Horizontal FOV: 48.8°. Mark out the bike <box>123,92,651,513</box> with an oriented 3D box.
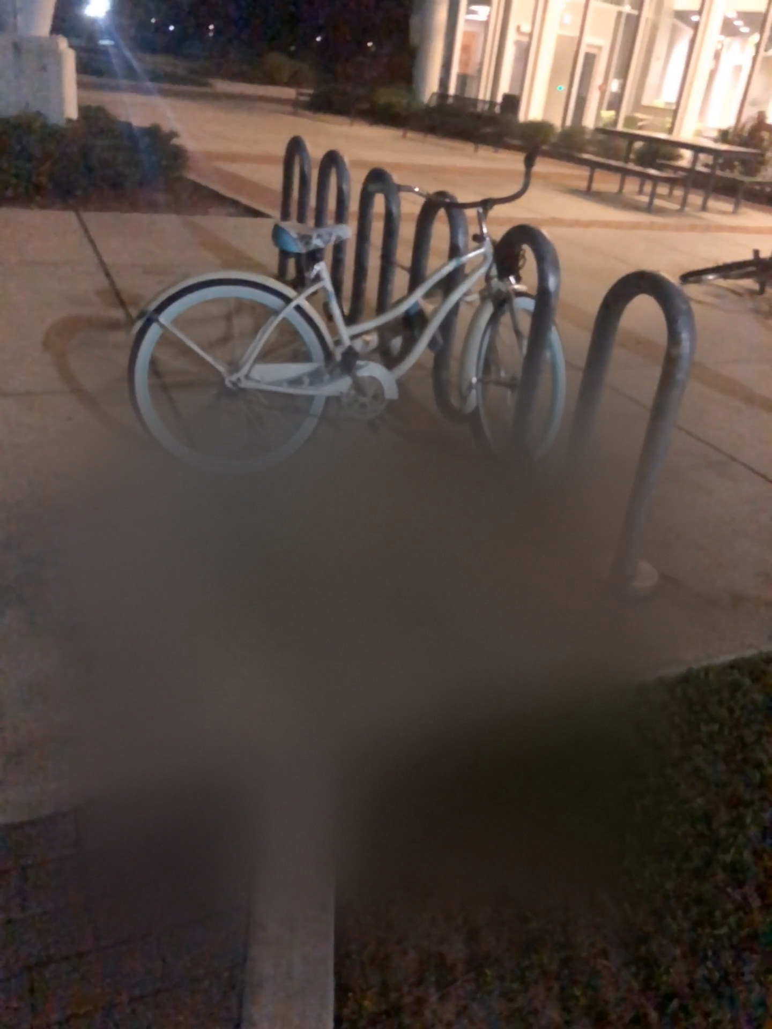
[{"bbox_3d":[-0.040,-0.847,2.987,1.680,1.095,0.743,-10,31,-23],"label":"bike"}]
